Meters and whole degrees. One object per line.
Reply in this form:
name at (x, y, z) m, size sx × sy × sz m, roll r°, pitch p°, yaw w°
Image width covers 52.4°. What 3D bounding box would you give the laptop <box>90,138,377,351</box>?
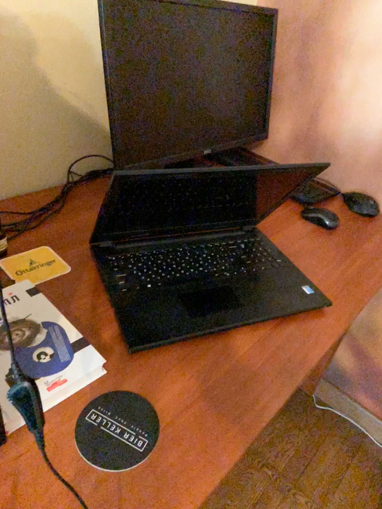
laptop at (0.050, -0.045, 0.650) m, size 0.374 × 0.202 × 0.247 m, roll -7°, pitch 40°, yaw -26°
